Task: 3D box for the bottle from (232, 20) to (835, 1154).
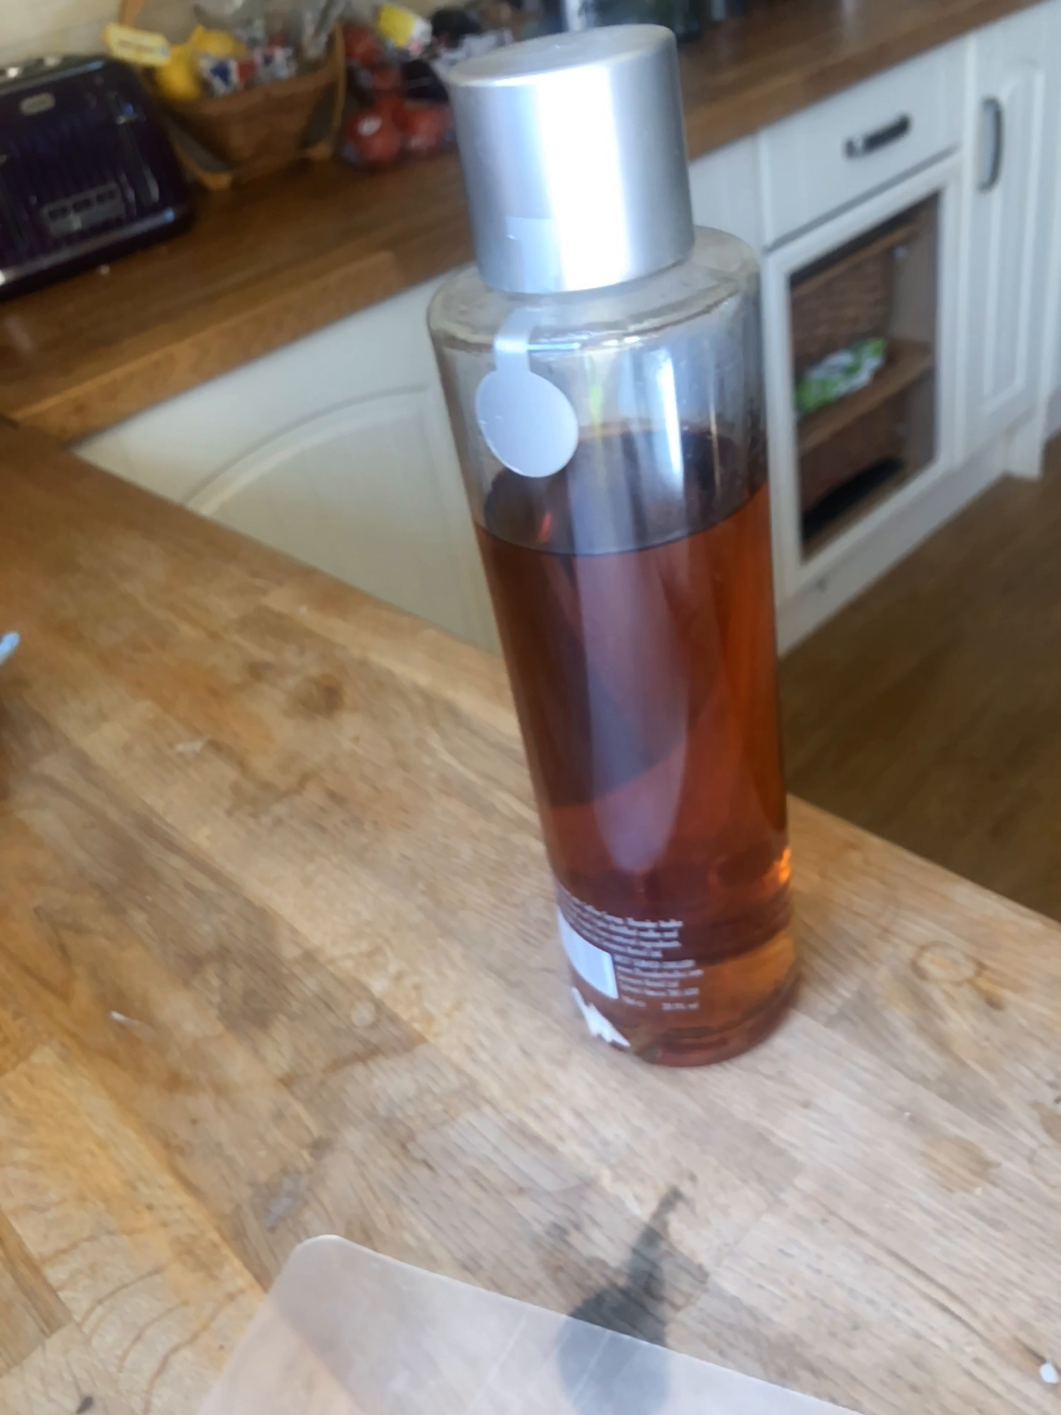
[{"bbox_3d":[0.019,-0.014,0.314,0.080,0.278,0.080,-8,36,6],"label":"bottle"}]
